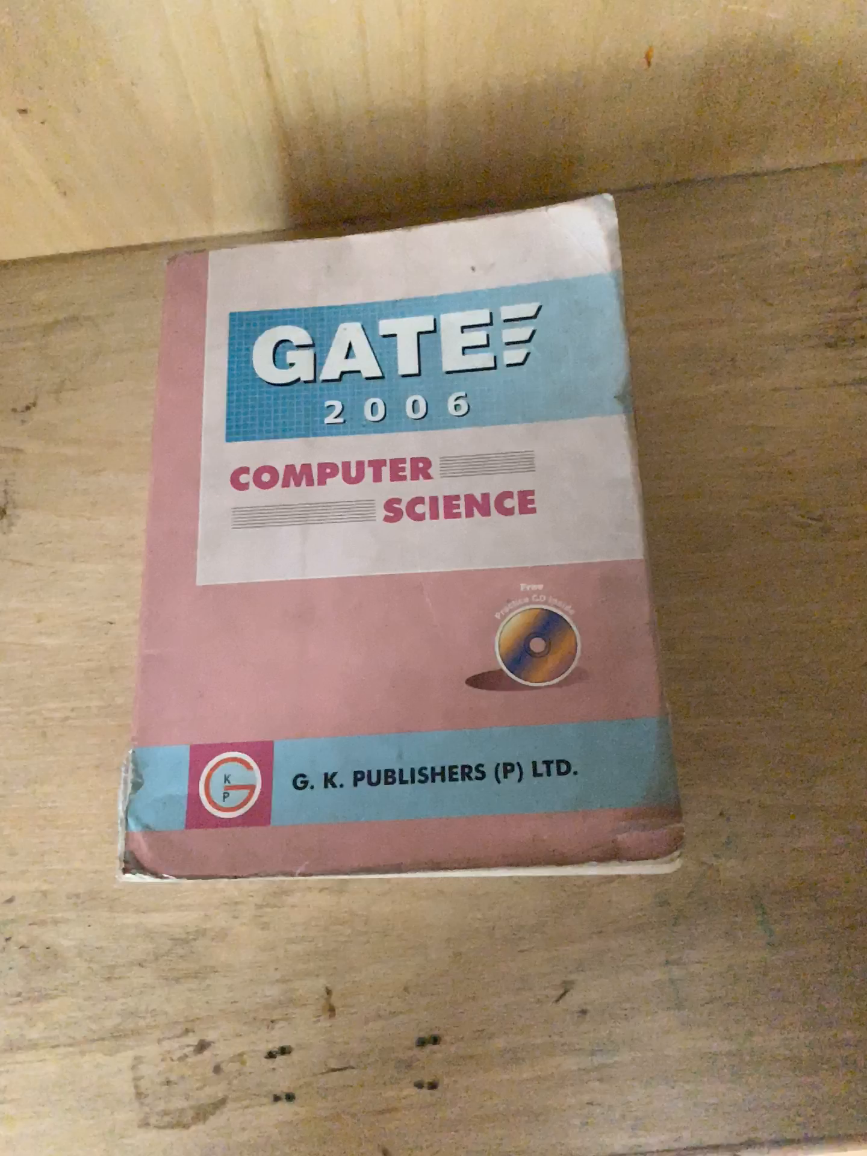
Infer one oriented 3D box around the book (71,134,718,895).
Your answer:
[{"bbox_3d":[-0.014,-0.025,0.343,0.190,0.080,0.271,-2,72,3],"label":"book"}]
